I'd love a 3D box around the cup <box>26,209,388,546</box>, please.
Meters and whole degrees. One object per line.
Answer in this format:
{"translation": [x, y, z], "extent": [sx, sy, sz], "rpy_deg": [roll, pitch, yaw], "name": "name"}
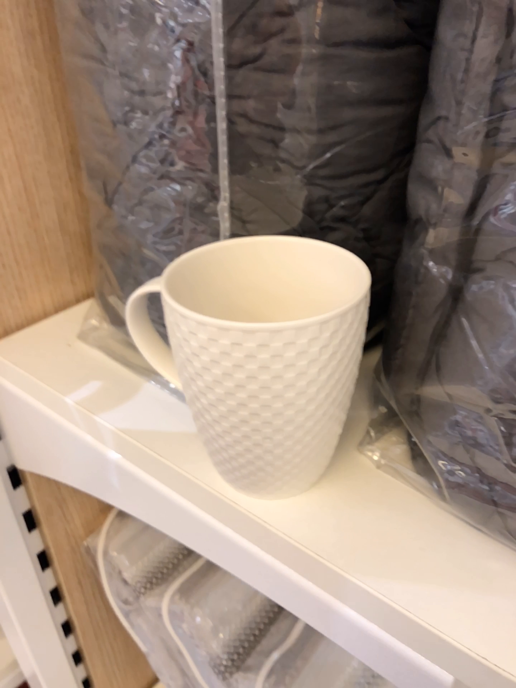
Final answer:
{"translation": [-0.013, 0.007, 0.238], "extent": [0.110, 0.089, 0.081], "rpy_deg": [10, 34, 18], "name": "cup"}
